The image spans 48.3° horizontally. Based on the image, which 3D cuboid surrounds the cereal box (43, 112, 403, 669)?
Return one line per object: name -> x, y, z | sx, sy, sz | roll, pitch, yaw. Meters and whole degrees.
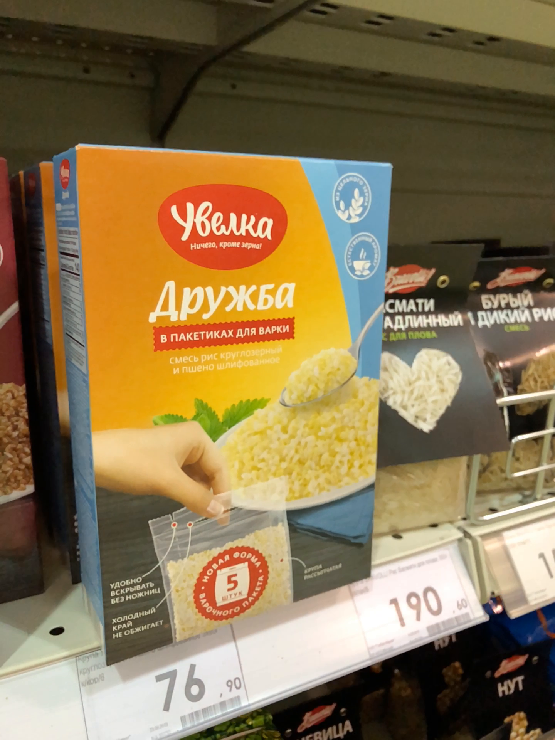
cereal box -> -0.017, 0.005, 0.253 | 0.130, 0.189, 0.040 | -7, 15, -30
